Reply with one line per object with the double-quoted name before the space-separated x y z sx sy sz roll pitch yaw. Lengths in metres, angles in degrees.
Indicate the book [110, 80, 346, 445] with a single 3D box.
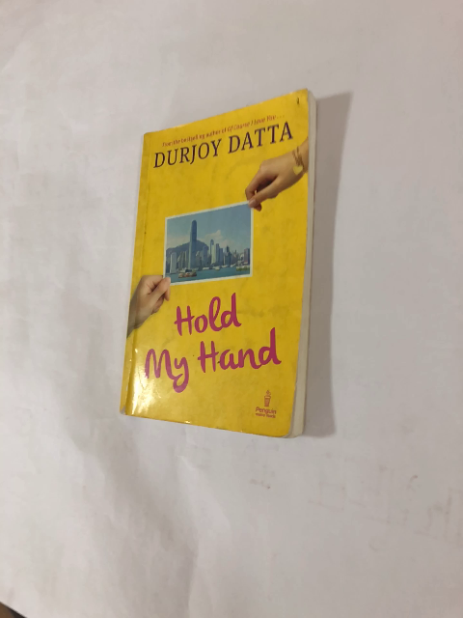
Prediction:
"book" -0.006 -0.026 0.308 0.140 0.020 0.190 -1 81 32
